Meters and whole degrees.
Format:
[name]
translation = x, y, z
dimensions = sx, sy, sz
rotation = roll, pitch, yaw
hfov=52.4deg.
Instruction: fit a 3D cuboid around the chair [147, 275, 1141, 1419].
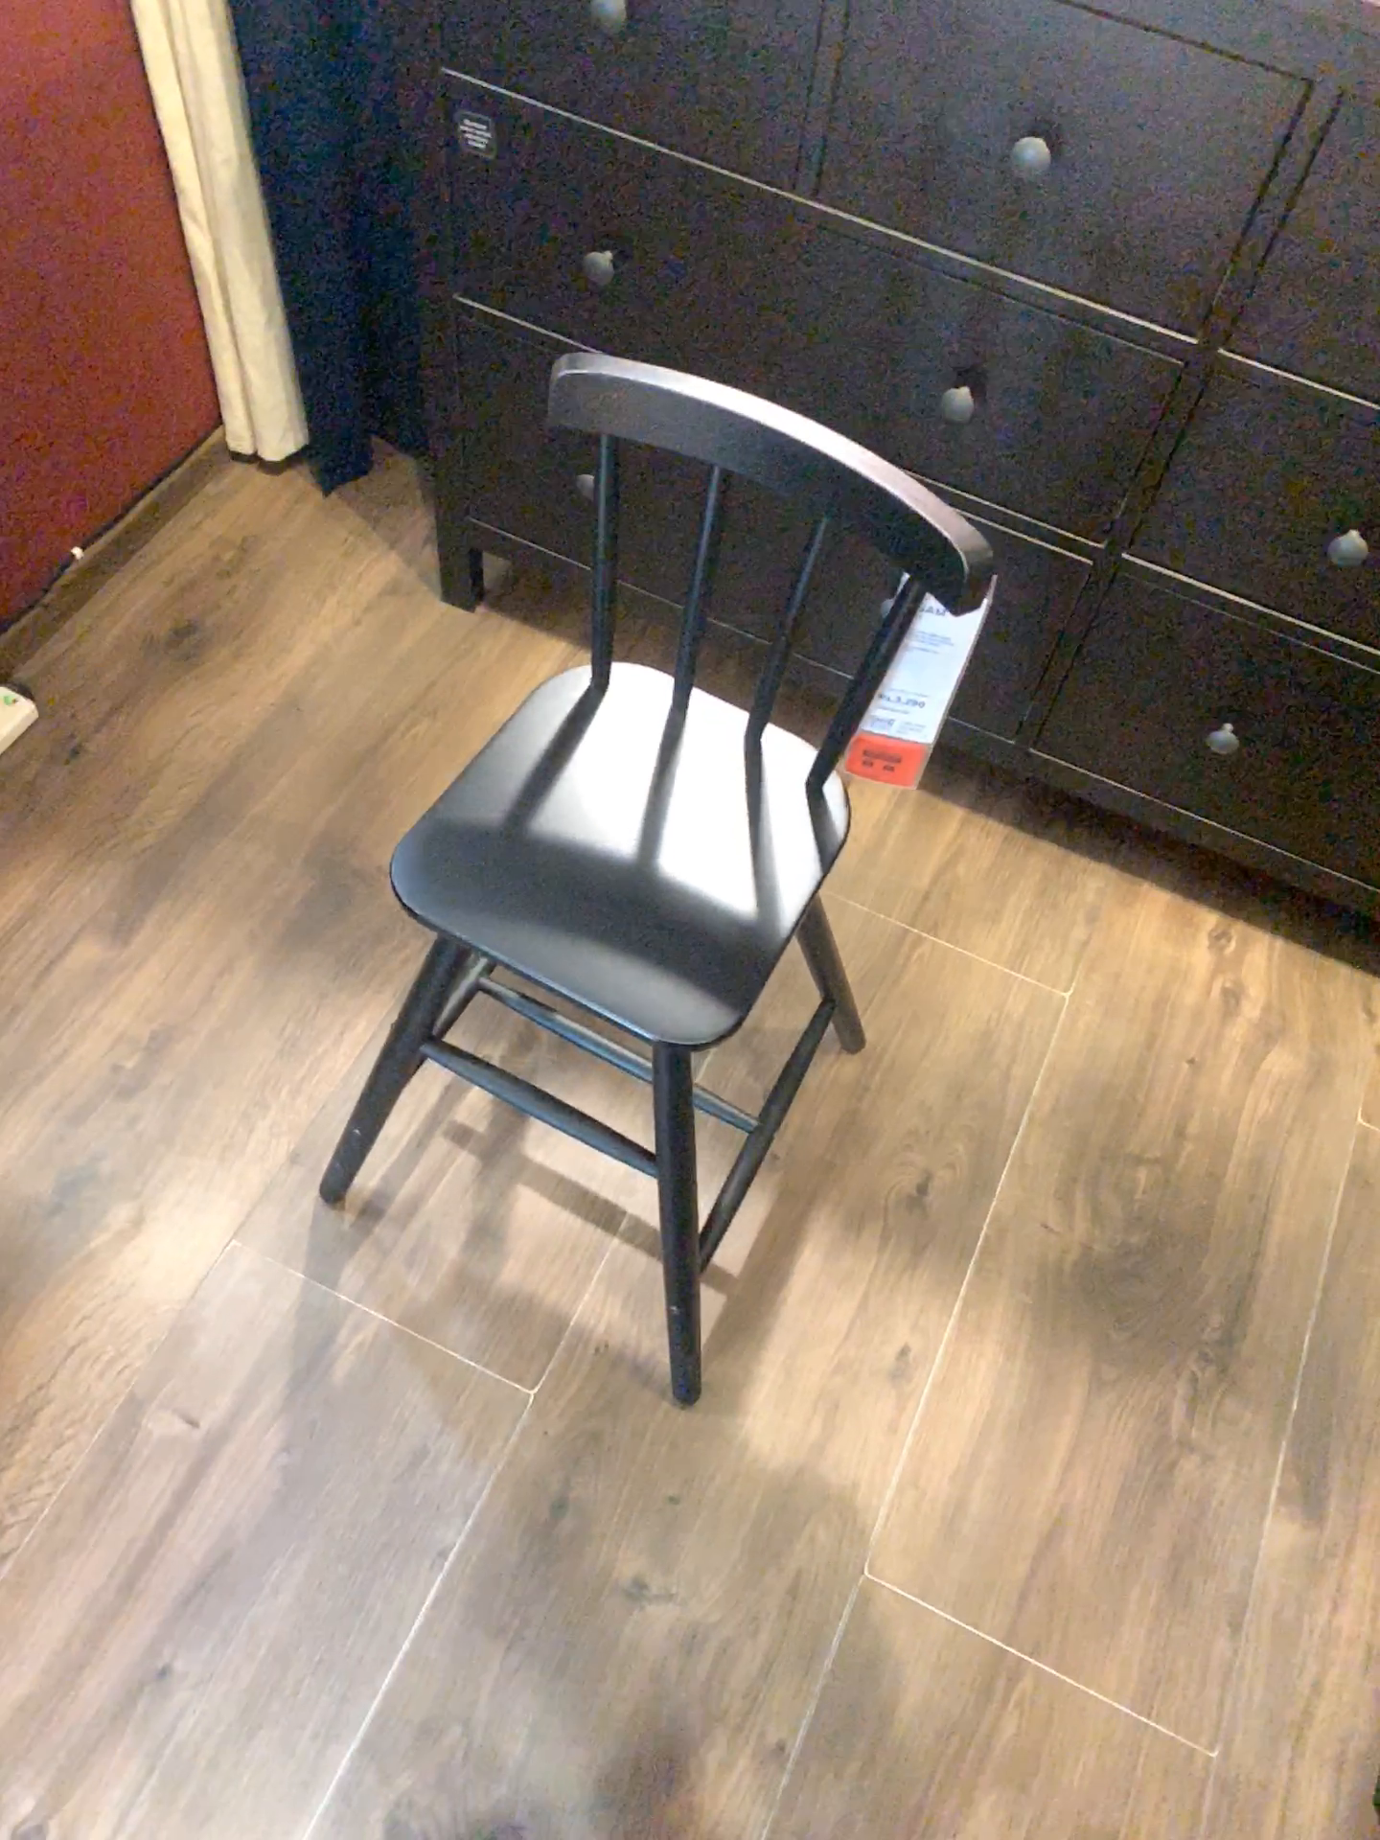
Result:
[chair]
translation = -0.039, 0.018, 1.231
dimensions = 0.450, 0.848, 0.471
rotation = 26, 59, 10
